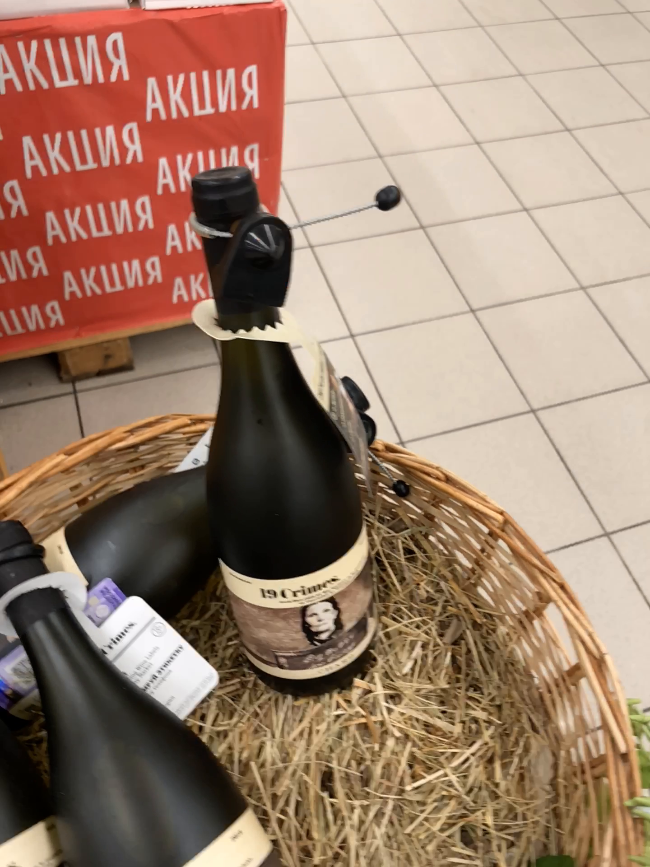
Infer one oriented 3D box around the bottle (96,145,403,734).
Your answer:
[{"bbox_3d":[-0.024,0.020,0.368,0.090,0.289,0.080,-19,37,-16],"label":"bottle"}]
